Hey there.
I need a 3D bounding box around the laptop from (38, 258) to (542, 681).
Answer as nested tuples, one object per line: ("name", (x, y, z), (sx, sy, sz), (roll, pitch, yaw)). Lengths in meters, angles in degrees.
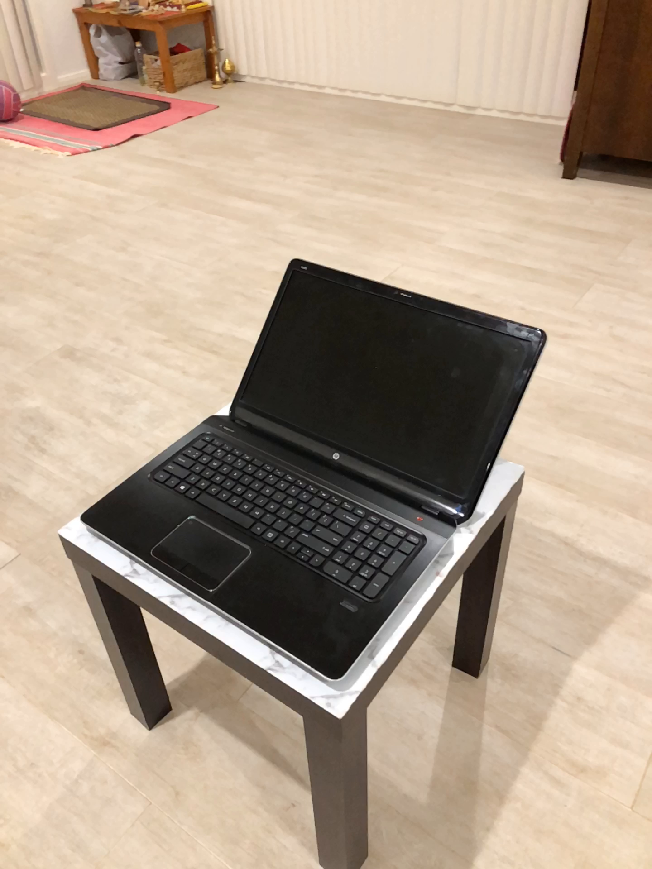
("laptop", (-0.024, -0.009, 0.867), (0.387, 0.169, 0.439), (24, 46, 29))
